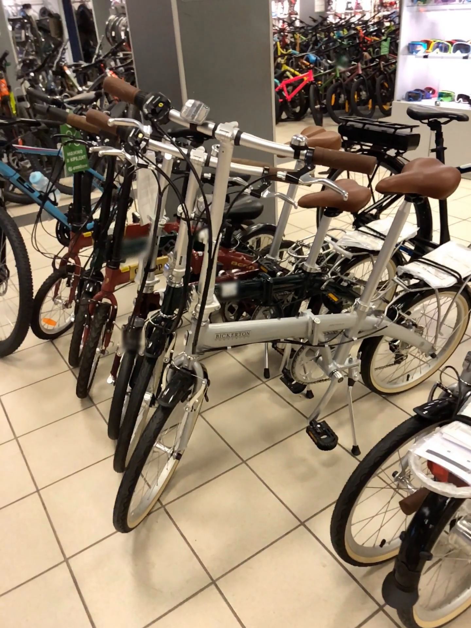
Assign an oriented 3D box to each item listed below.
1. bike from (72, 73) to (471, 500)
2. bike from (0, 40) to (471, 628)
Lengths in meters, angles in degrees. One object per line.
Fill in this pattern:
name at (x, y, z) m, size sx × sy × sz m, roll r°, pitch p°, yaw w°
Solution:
bike at (0.219, -0.181, 1.773) m, size 1.142 × 1.037 × 0.558 m, roll -23°, pitch 34°, yaw -29°
bike at (0.266, -0.056, 1.396) m, size 1.361 × 1.153 × 0.554 m, roll -19°, pitch 32°, yaw -27°
